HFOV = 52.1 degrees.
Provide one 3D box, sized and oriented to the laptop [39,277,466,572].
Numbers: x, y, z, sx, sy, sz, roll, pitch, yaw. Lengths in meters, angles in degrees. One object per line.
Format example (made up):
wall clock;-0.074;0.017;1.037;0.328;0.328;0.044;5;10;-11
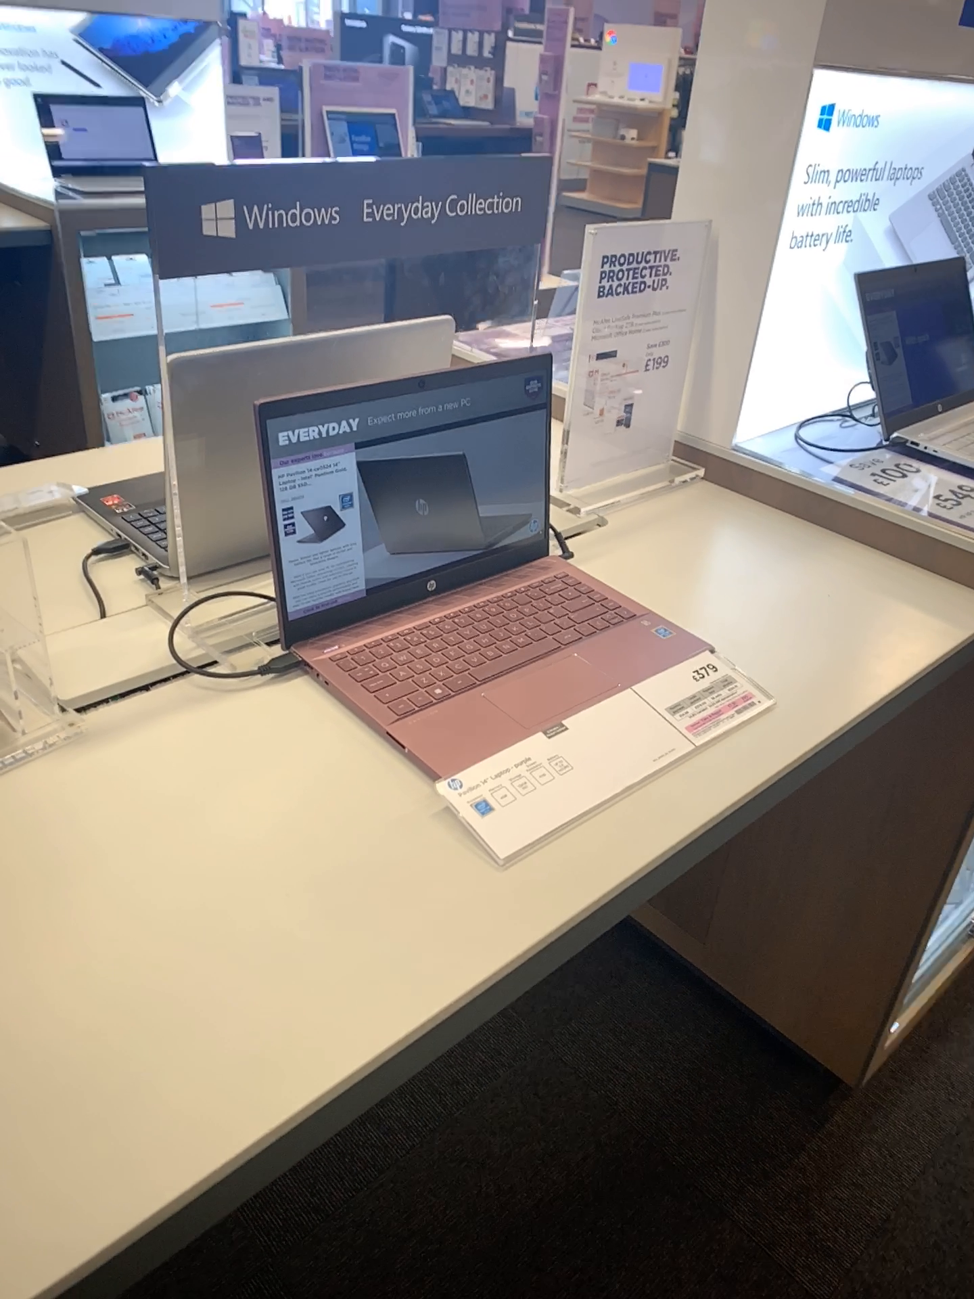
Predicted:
laptop;-0.231;-0.249;1.021;0.325;0.186;0.244;-23;40;-38

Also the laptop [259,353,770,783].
laptop;0.018;-0.093;0.822;0.313;0.200;0.250;-21;40;-37
